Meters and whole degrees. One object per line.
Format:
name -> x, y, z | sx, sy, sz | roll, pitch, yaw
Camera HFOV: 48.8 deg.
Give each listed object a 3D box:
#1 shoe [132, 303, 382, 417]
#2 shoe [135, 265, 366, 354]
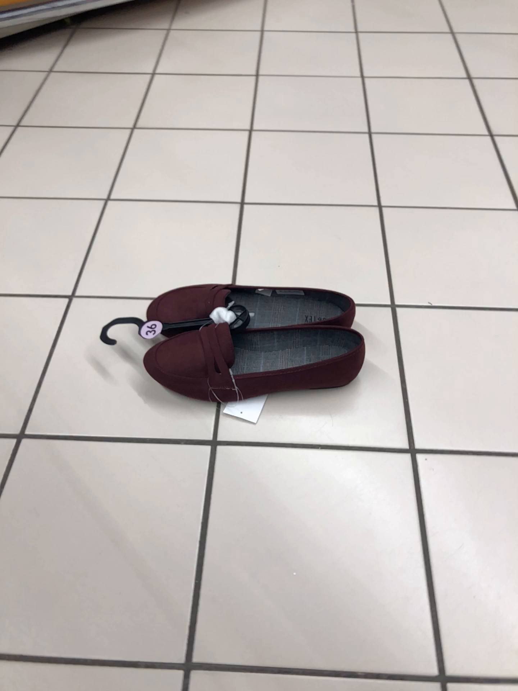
shoe -> -0.004, 0.014, 0.591 | 0.239, 0.056, 0.079 | -5, 50, -4
shoe -> -0.008, -0.041, 0.637 | 0.239, 0.057, 0.079 | 1, 50, 1
